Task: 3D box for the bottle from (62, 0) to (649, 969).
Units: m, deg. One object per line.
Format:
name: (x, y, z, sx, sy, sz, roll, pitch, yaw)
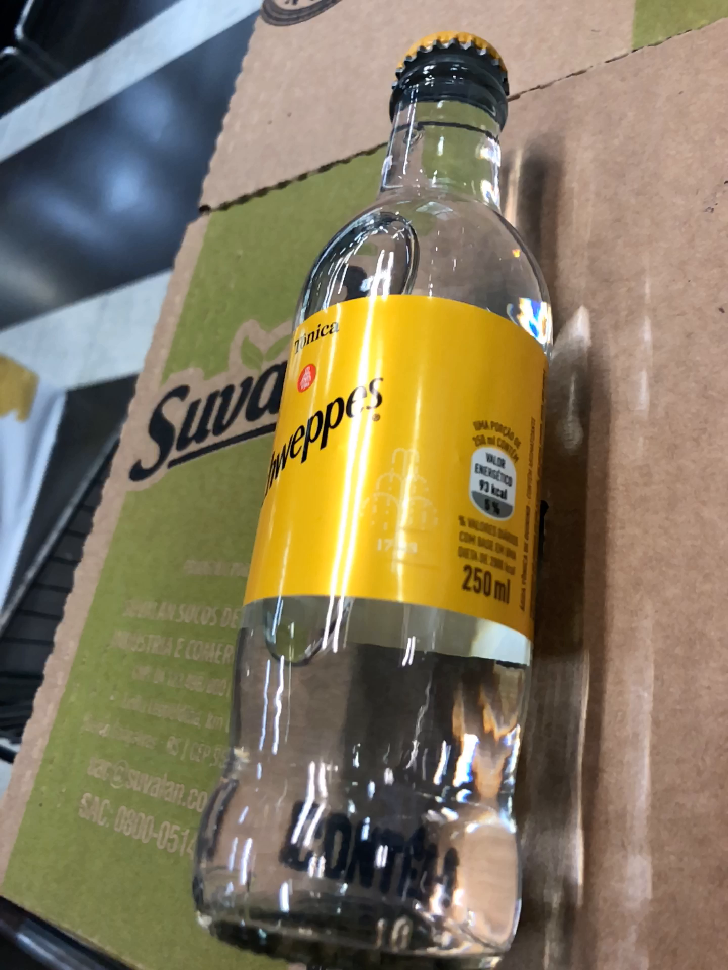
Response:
bottle: (0.014, -0.032, 0.179, 0.070, 0.070, 0.240, -9, 63, 35)
